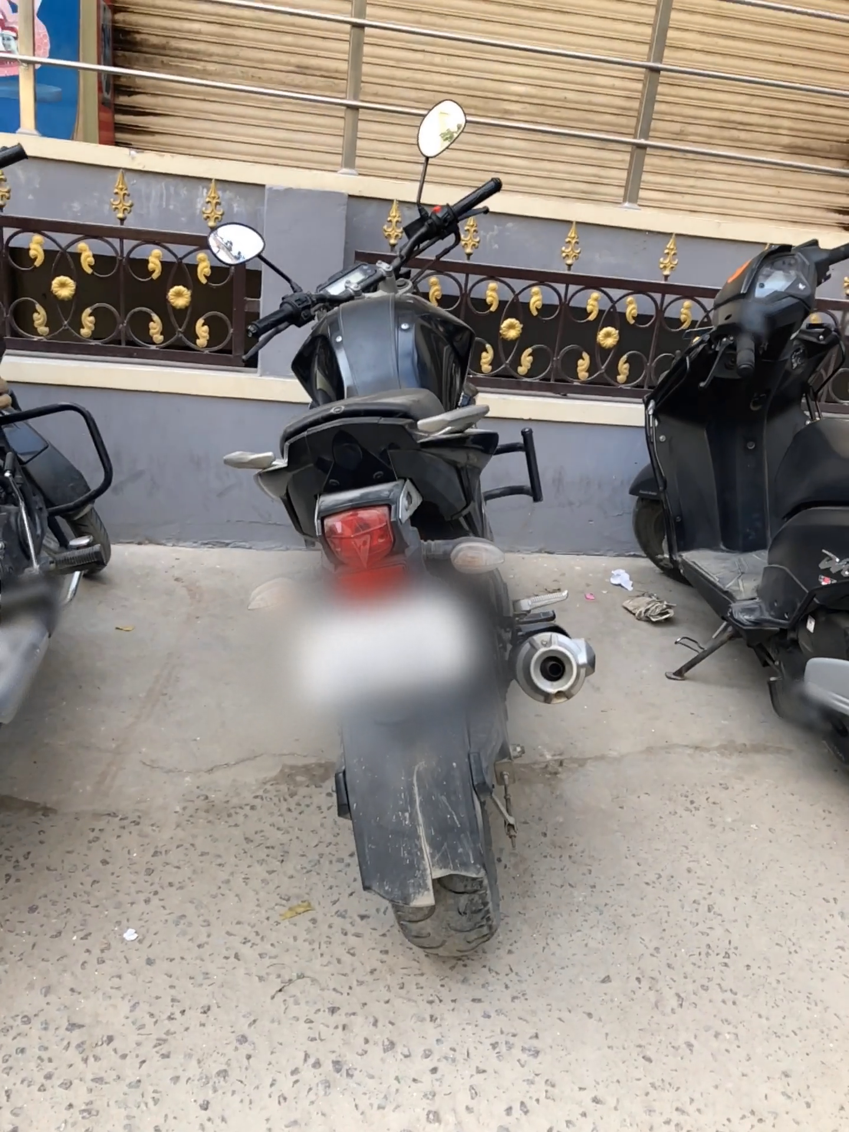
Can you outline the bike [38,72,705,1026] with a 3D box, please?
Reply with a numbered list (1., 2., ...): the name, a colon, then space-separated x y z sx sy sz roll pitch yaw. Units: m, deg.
1. bike: -0.224 -0.247 1.972 0.692 1.199 1.764 3 21 -8
